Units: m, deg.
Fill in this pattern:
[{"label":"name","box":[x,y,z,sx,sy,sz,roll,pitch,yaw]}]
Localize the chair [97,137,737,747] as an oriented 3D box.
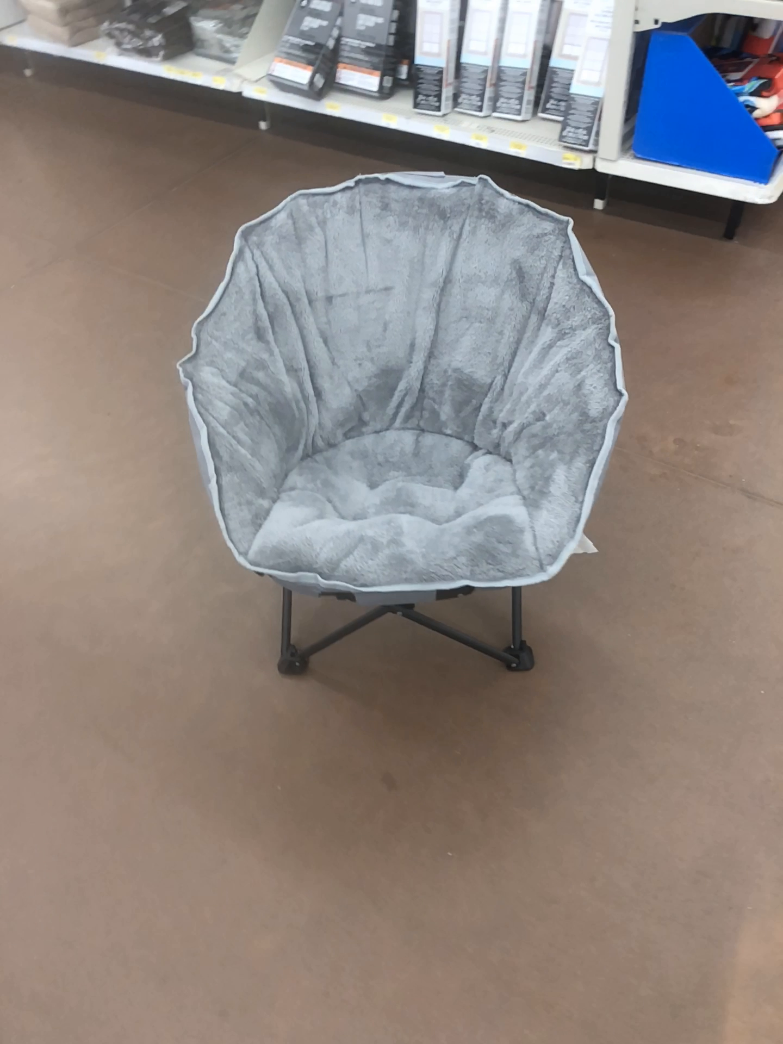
[{"label":"chair","box":[0.040,-0.113,1.176,0.570,0.528,0.632,-1,46,4]}]
